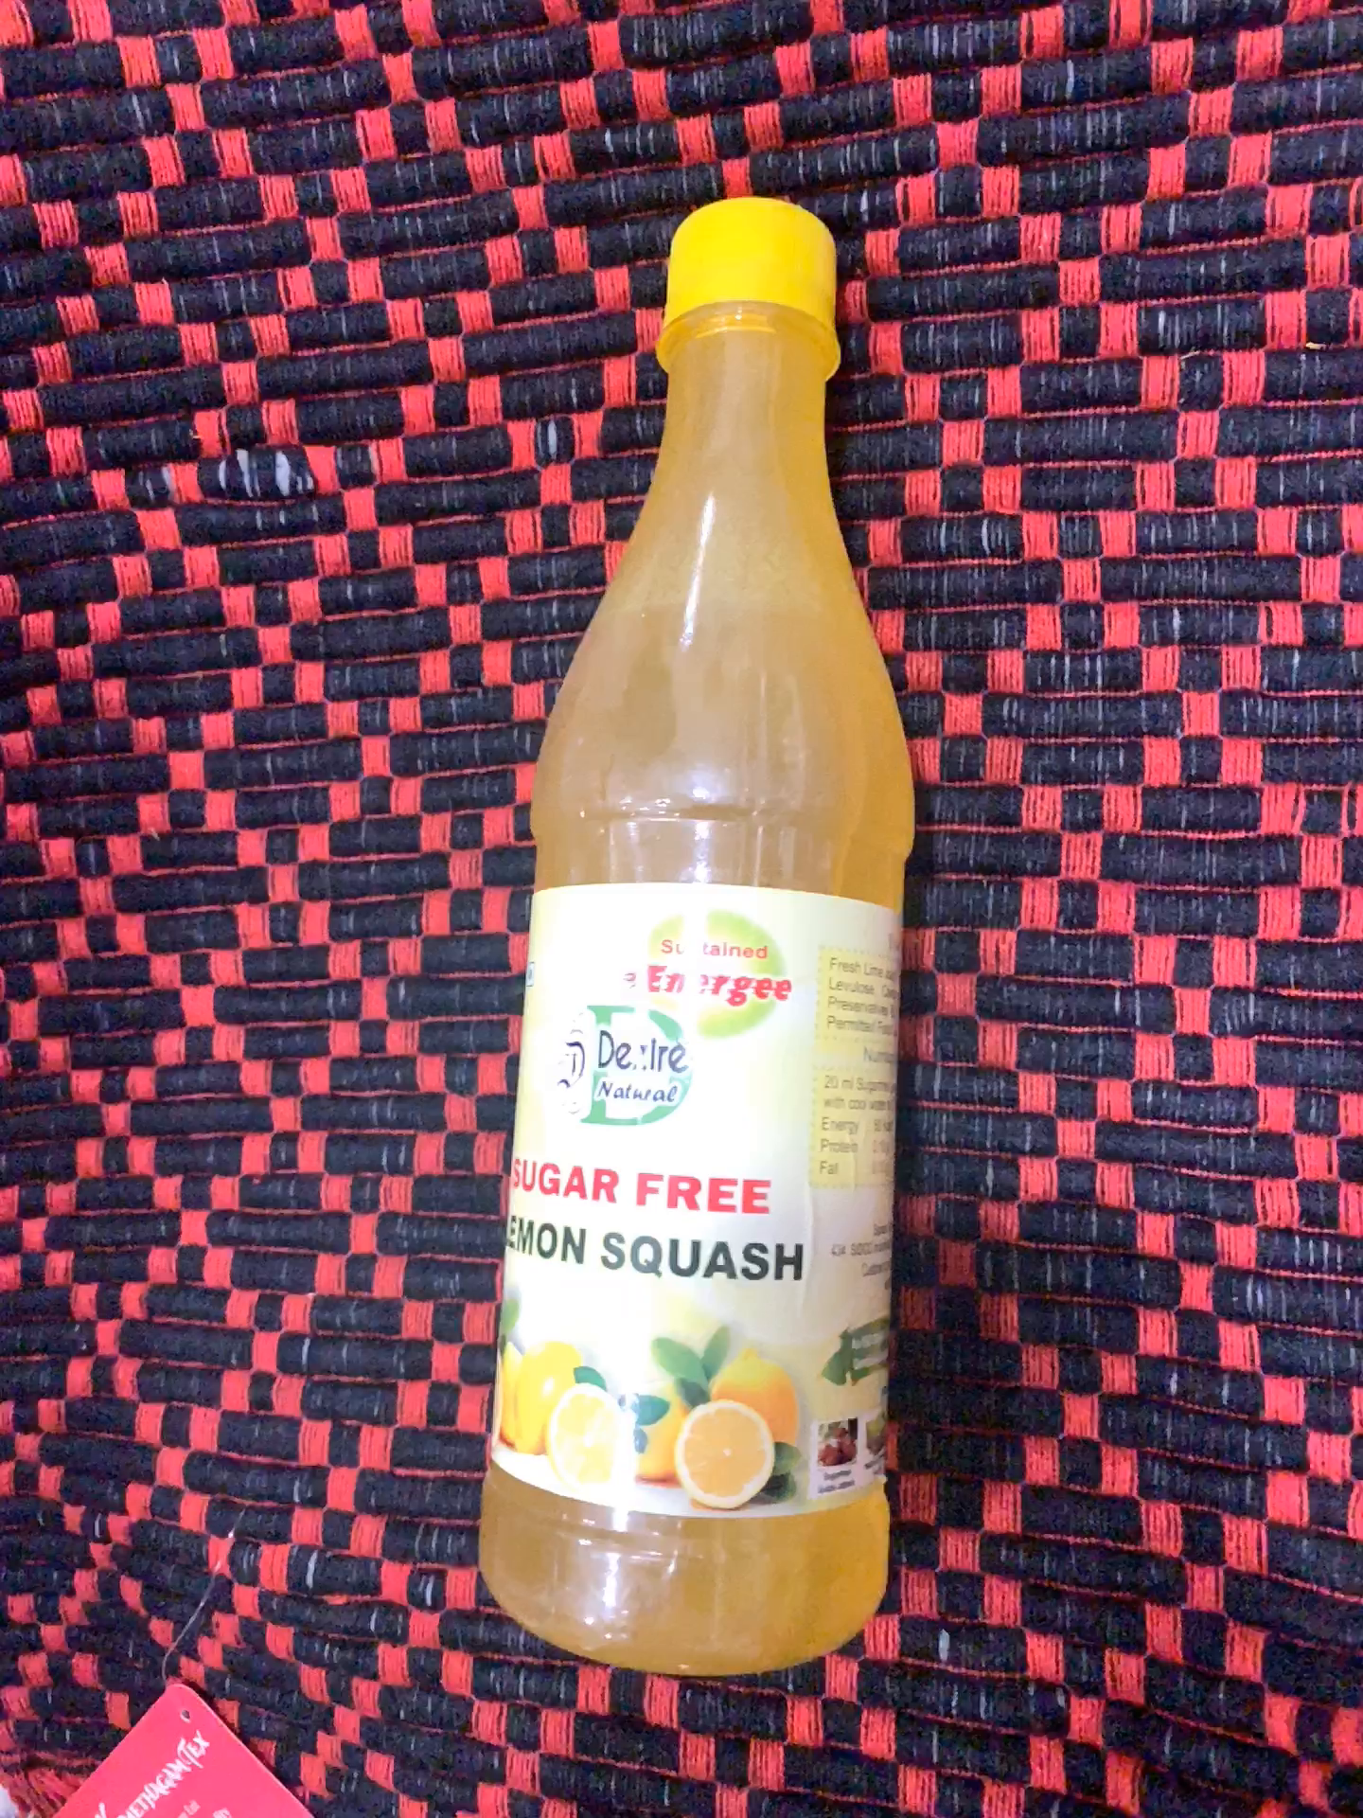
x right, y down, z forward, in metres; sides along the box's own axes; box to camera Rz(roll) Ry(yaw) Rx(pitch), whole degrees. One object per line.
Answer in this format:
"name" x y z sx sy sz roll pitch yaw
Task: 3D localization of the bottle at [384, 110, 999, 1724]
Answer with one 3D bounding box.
"bottle" 0.011 -0.006 0.235 0.070 0.060 0.230 2 78 16
